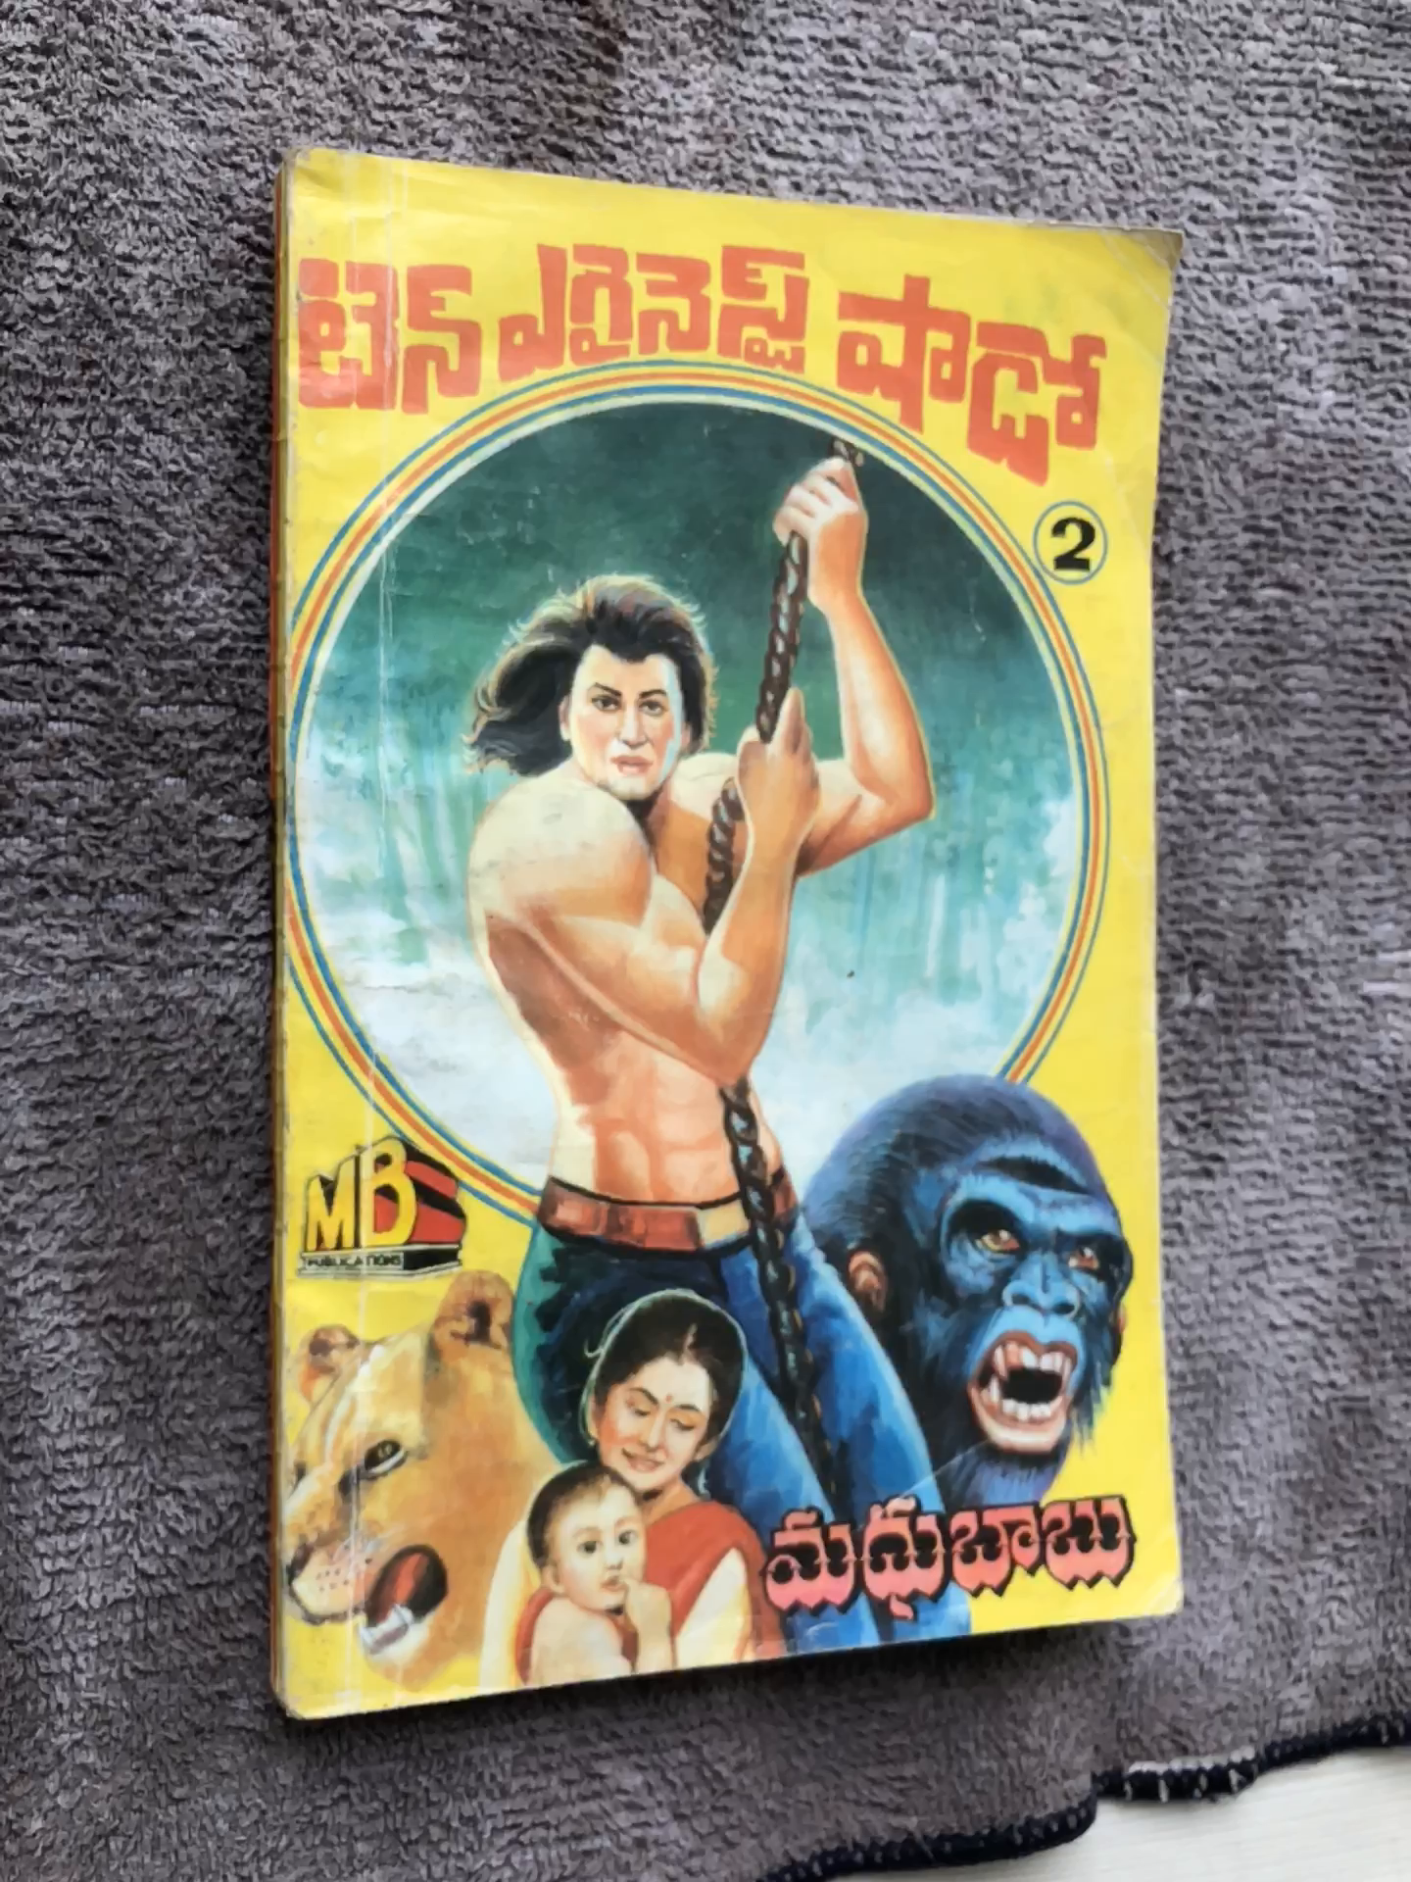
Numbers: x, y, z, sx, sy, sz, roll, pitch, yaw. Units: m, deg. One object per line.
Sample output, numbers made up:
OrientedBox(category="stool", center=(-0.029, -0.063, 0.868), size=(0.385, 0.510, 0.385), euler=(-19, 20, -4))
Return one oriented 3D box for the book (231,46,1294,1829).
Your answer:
OrientedBox(category="book", center=(0.008, -0.002, 0.170), size=(0.110, 0.020, 0.160), euler=(-1, 89, -18))
